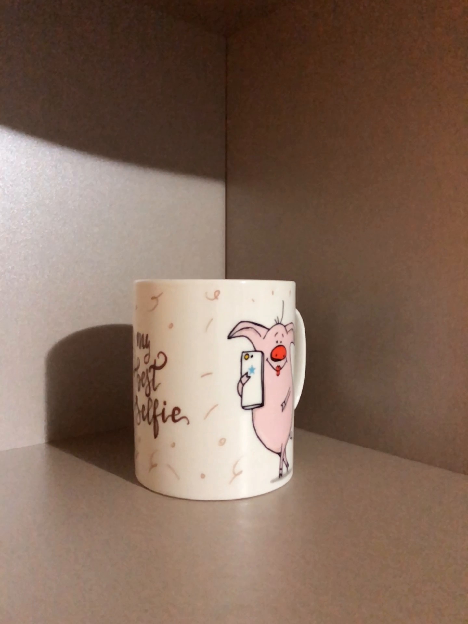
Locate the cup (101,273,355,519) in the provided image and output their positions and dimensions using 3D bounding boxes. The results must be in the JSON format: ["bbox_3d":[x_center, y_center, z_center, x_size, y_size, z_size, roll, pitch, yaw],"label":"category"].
[{"bbox_3d":[0.004,0.030,0.274,0.086,0.096,0.118,1,2,29],"label":"cup"}]
